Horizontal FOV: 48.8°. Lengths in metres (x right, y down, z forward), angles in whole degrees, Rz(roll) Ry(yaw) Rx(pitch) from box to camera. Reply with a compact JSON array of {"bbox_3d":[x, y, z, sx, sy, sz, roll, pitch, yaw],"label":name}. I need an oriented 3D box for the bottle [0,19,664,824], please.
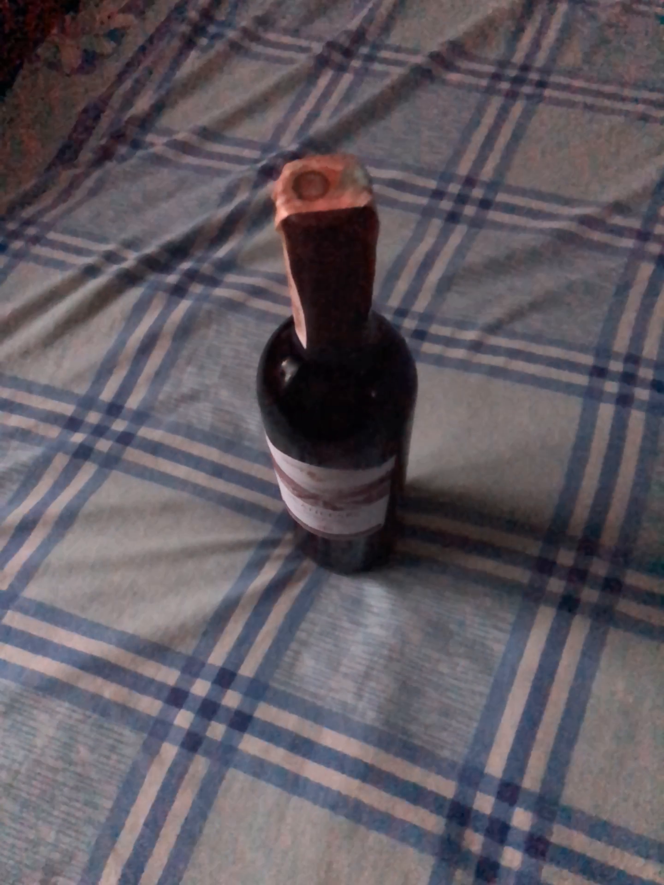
[{"bbox_3d":[0.007,0.051,0.229,0.071,0.305,0.081,-40,65,-17],"label":"bottle"}]
